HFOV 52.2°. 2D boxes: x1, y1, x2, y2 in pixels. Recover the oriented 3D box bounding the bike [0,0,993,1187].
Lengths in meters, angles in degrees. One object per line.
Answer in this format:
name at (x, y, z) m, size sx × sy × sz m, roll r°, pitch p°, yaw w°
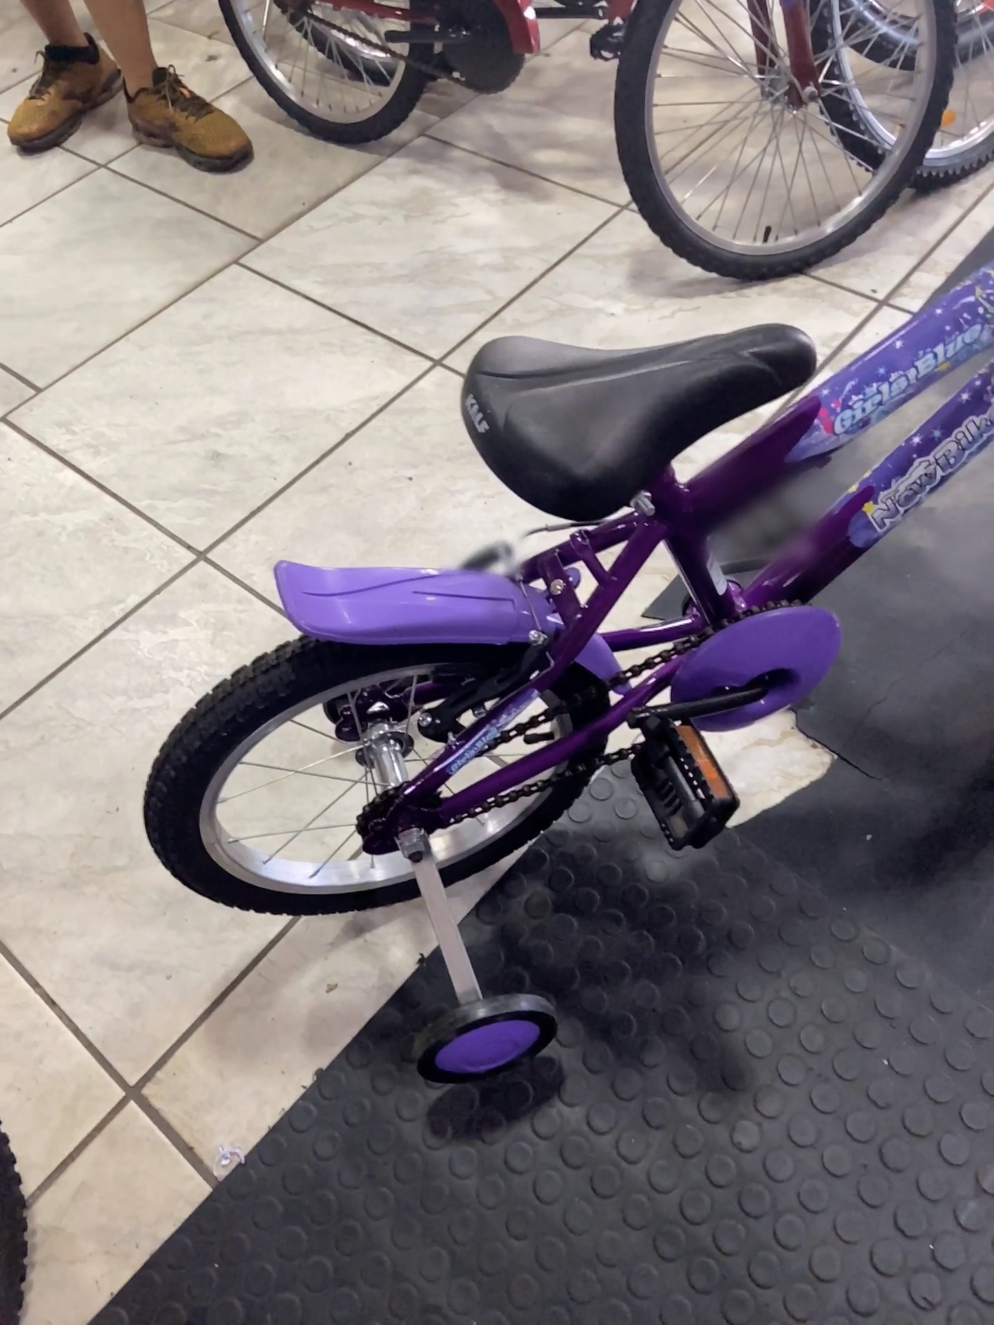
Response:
bike at (0.173, -0.146, 0.728) m, size 0.971 × 0.743 × 0.449 m, roll -25°, pitch 55°, yaw -10°
